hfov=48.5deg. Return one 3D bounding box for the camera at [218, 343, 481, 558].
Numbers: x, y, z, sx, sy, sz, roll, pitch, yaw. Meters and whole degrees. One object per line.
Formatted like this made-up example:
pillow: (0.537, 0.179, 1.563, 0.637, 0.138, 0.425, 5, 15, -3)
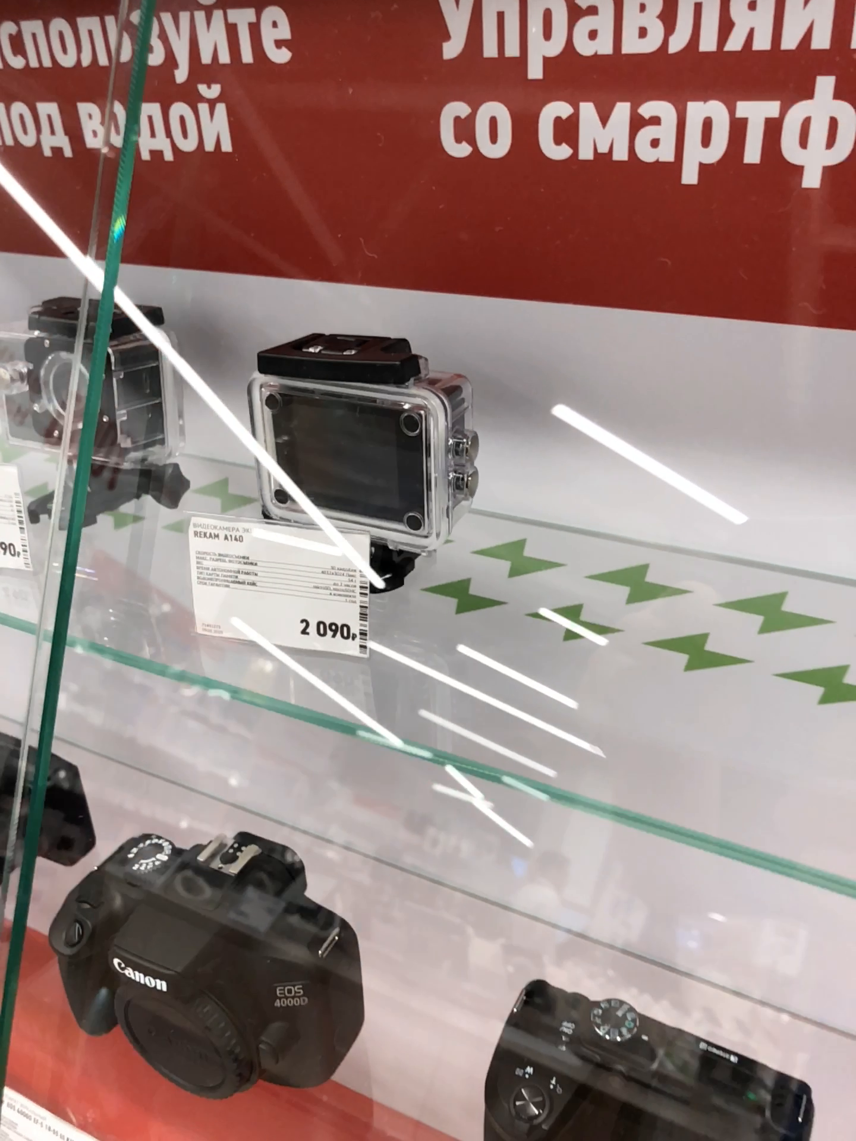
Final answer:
camera: (-0.025, -0.043, 0.323, 0.075, 0.053, 0.040, 11, 30, 25)
